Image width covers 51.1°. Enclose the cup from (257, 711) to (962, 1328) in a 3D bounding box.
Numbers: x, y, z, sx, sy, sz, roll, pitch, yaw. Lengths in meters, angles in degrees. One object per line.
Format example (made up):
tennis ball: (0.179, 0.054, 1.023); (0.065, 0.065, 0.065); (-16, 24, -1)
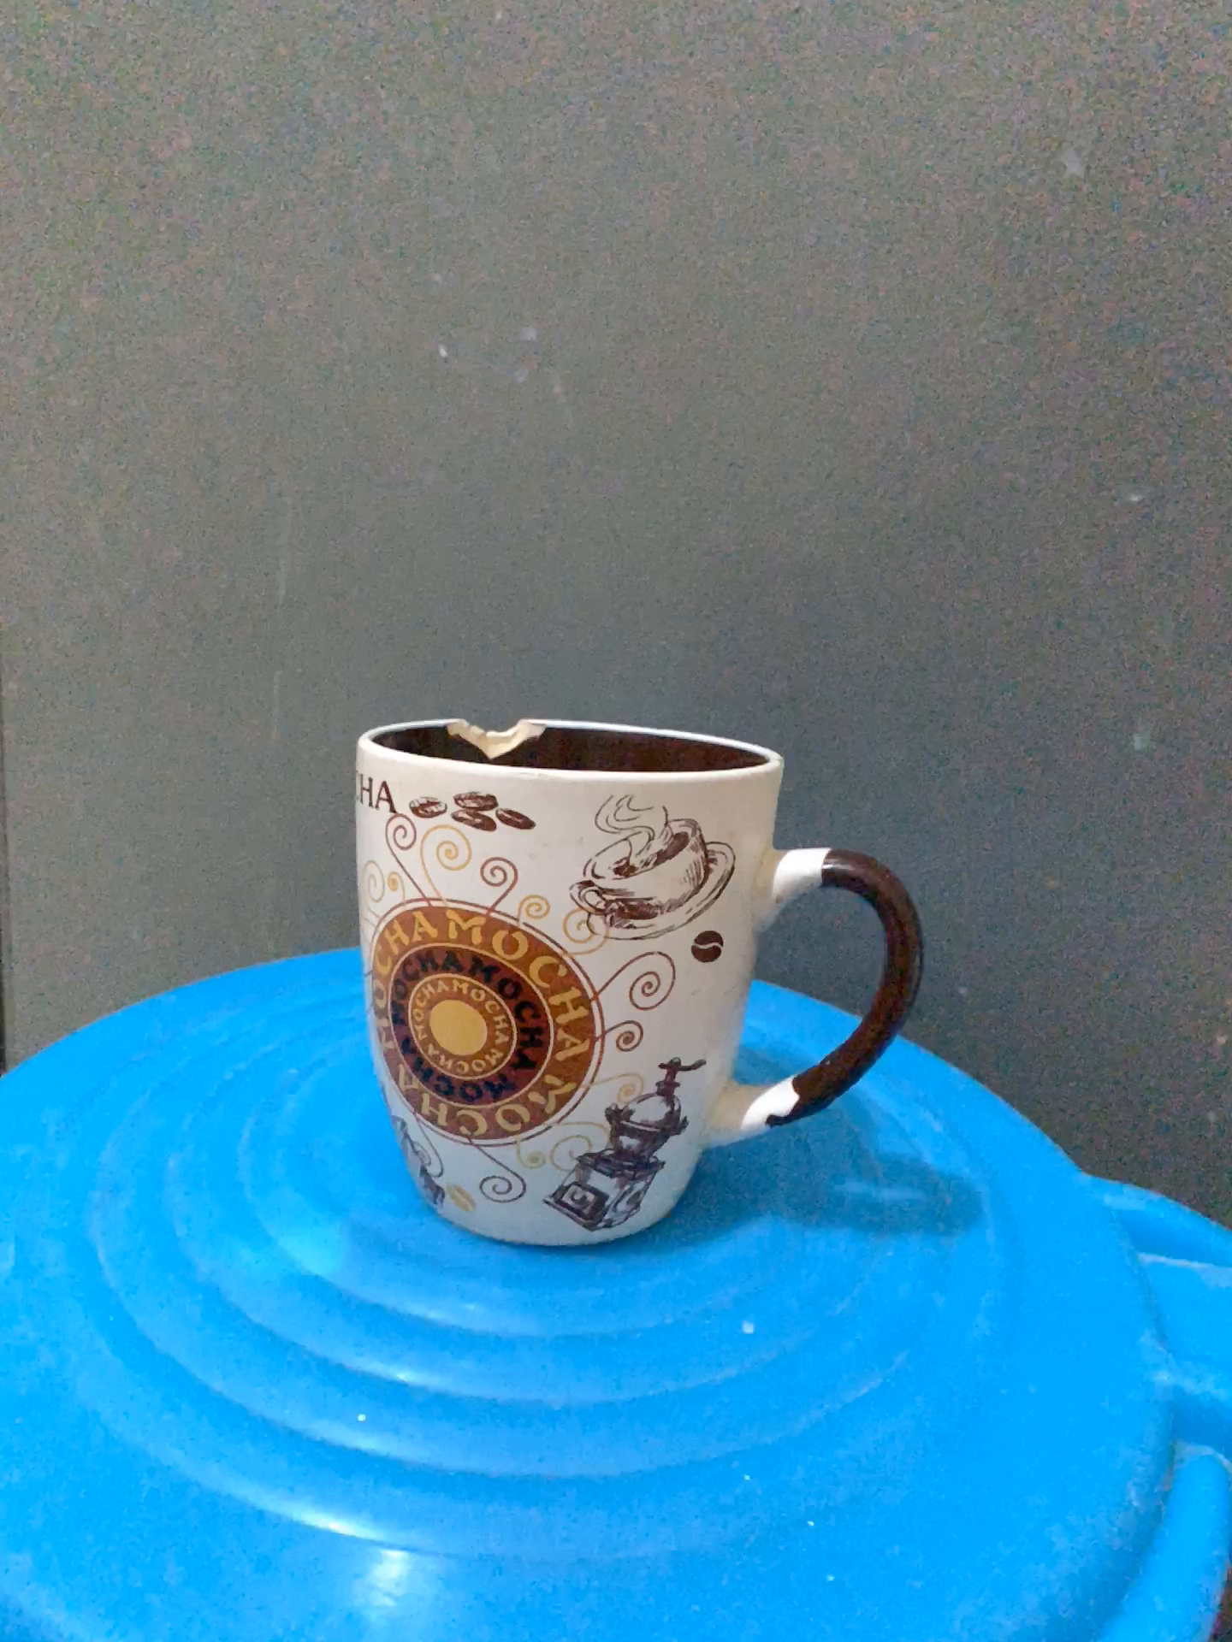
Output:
cup: (0.000, 0.029, 0.241); (0.109, 0.083, 0.070); (5, 11, 8)
